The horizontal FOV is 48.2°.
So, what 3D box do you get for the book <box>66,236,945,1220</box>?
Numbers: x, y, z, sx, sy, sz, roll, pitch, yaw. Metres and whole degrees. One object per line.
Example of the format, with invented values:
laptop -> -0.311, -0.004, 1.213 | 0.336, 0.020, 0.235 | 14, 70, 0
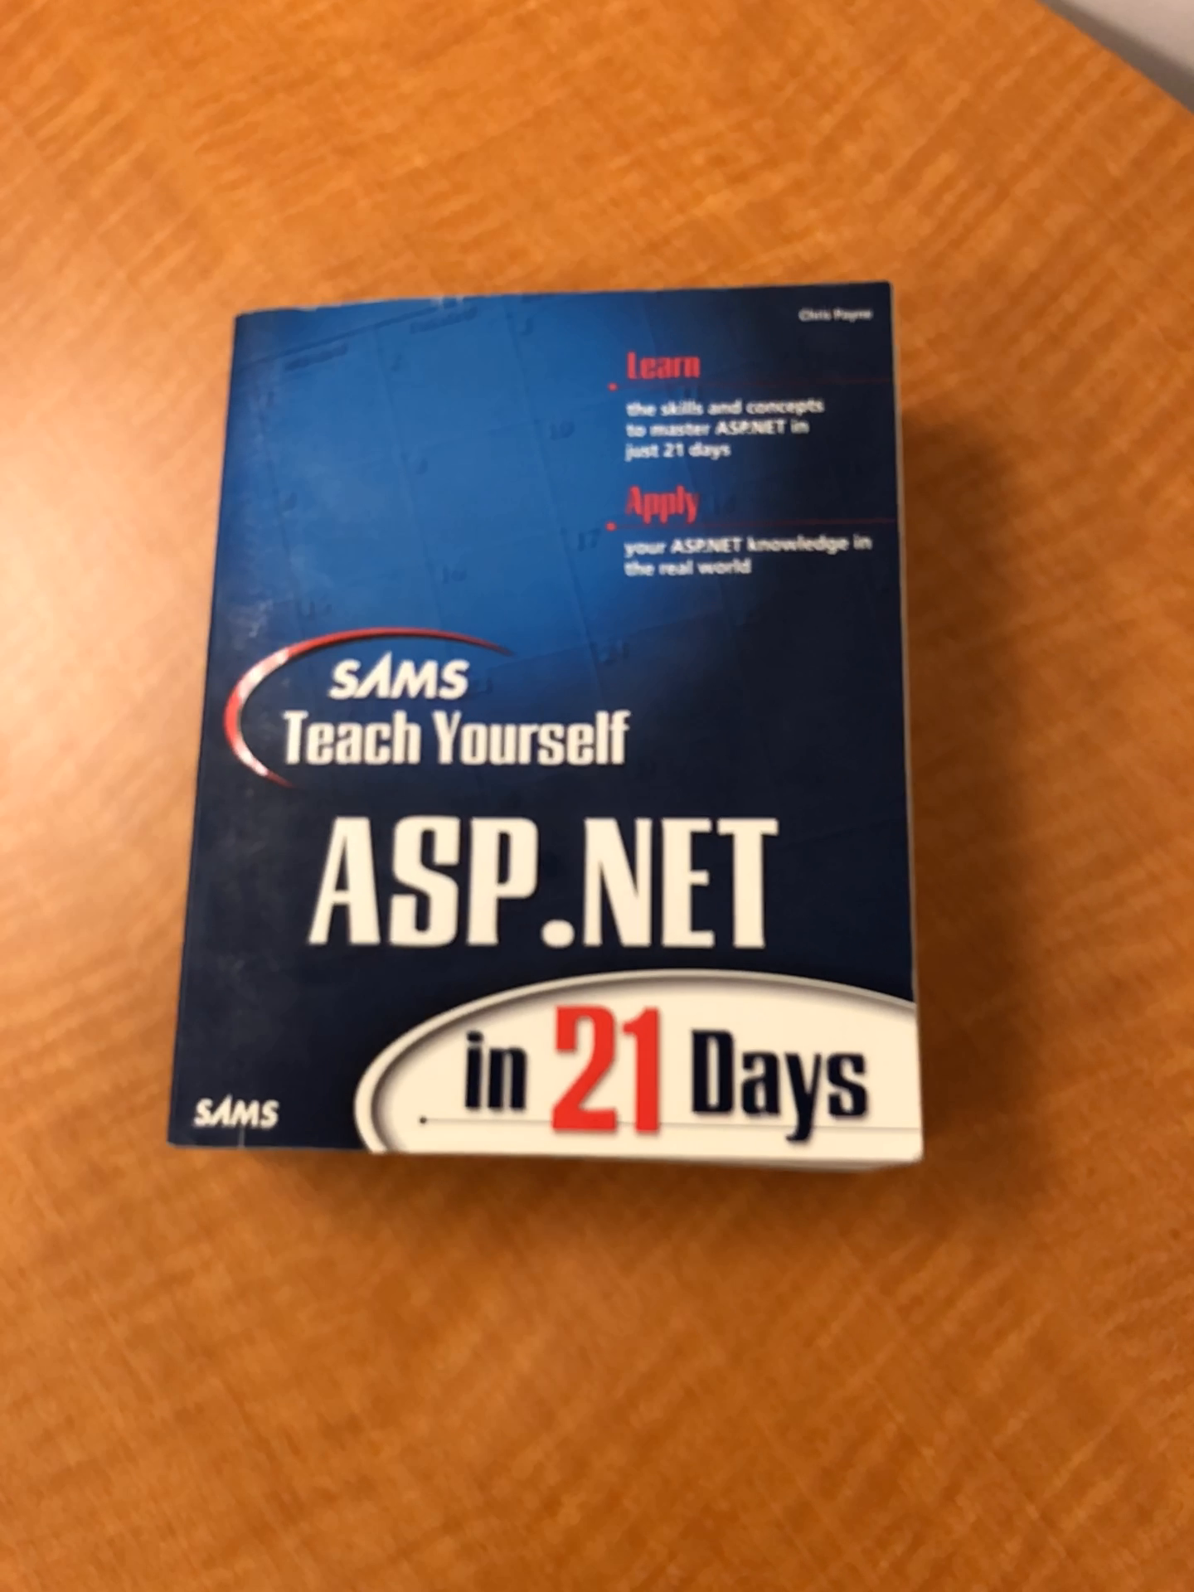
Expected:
book -> -0.015, -0.021, 0.362 | 0.200, 0.070, 0.240 | 3, 79, 4
